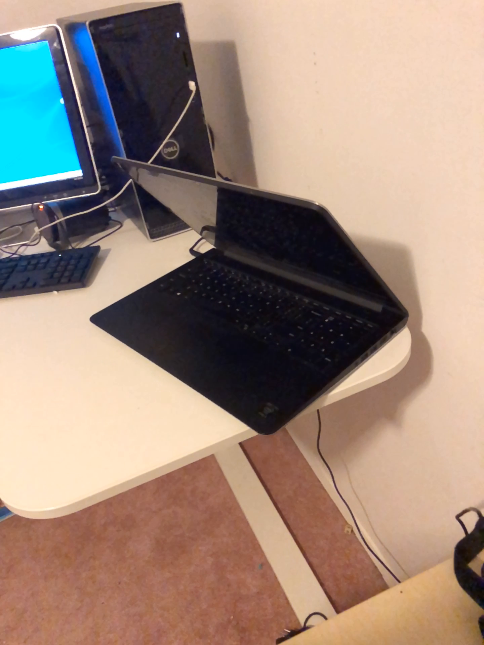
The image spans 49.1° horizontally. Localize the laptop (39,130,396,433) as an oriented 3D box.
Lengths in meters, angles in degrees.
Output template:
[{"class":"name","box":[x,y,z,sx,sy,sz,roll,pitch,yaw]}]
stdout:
[{"class":"laptop","box":[-0.034,-0.090,0.680,0.251,0.207,0.375,-33,39,-29]}]
